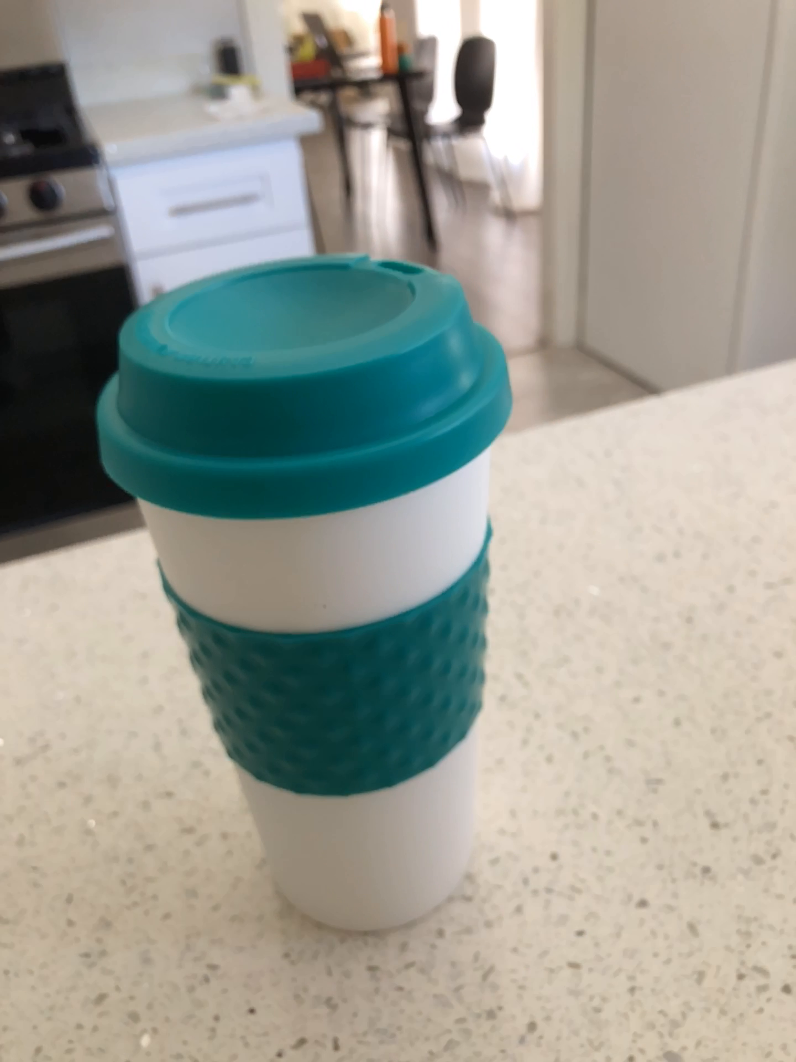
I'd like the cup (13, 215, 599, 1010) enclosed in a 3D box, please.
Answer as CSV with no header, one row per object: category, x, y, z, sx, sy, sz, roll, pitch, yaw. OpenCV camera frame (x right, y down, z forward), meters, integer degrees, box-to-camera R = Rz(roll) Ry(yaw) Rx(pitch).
cup,-0.015,0.020,0.239,0.100,0.169,0.100,-4,31,3
